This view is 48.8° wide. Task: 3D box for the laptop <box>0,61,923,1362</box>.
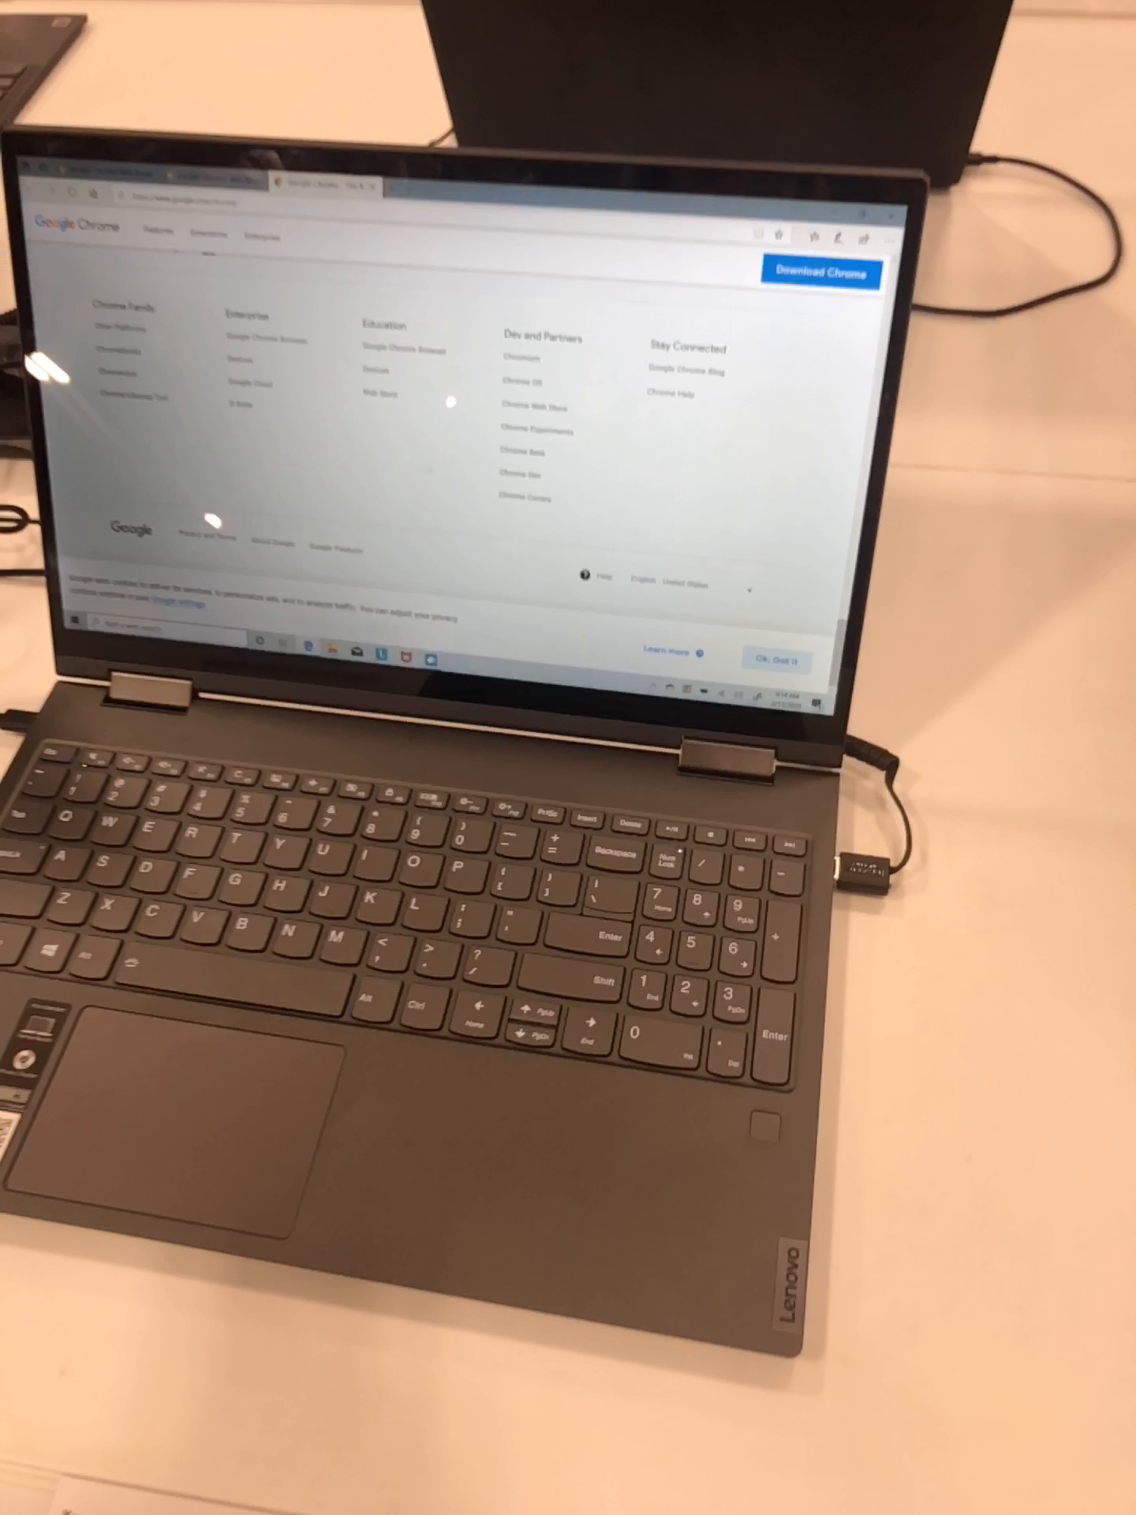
[{"bbox_3d":[-0.074,-0.040,0.446,0.352,0.179,0.365,7,59,8],"label":"laptop"}]
